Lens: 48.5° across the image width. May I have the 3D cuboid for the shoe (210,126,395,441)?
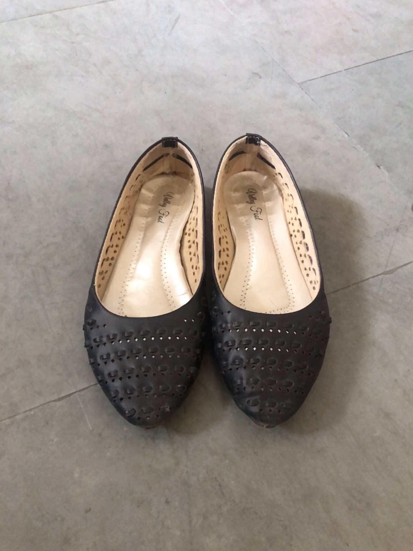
[{"bbox_3d":[0.054,-0.008,0.355,0.095,0.073,0.242,-2,55,-1],"label":"shoe"}]

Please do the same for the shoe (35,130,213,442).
[{"bbox_3d":[-0.044,-0.008,0.349,0.095,0.062,0.242,1,55,1],"label":"shoe"}]
